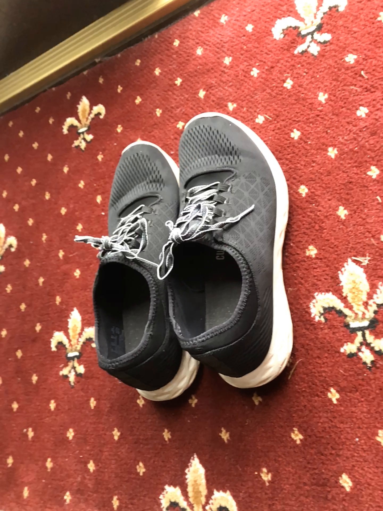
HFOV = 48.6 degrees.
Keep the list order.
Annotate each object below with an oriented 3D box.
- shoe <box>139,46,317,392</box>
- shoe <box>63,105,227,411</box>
[{"bbox_3d":[0.028,-0.023,0.378,0.100,0.109,0.271,-14,68,28],"label":"shoe"},{"bbox_3d":[-0.048,0.008,0.429,0.100,0.109,0.271,-16,66,27],"label":"shoe"}]
